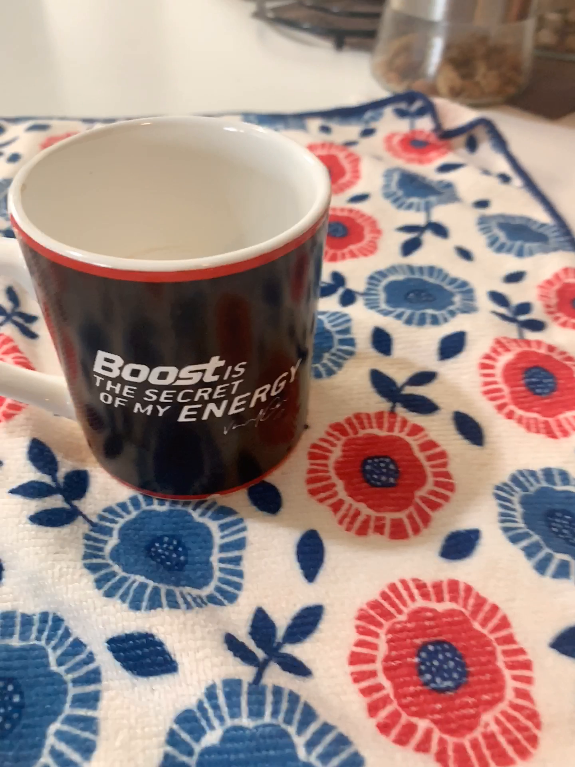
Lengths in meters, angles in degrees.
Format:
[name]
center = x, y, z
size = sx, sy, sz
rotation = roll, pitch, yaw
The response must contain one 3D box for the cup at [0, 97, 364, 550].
[cup]
center = -0.047, -0.019, 0.173
size = 0.110, 0.089, 0.081
rotation = -6, 44, -9
